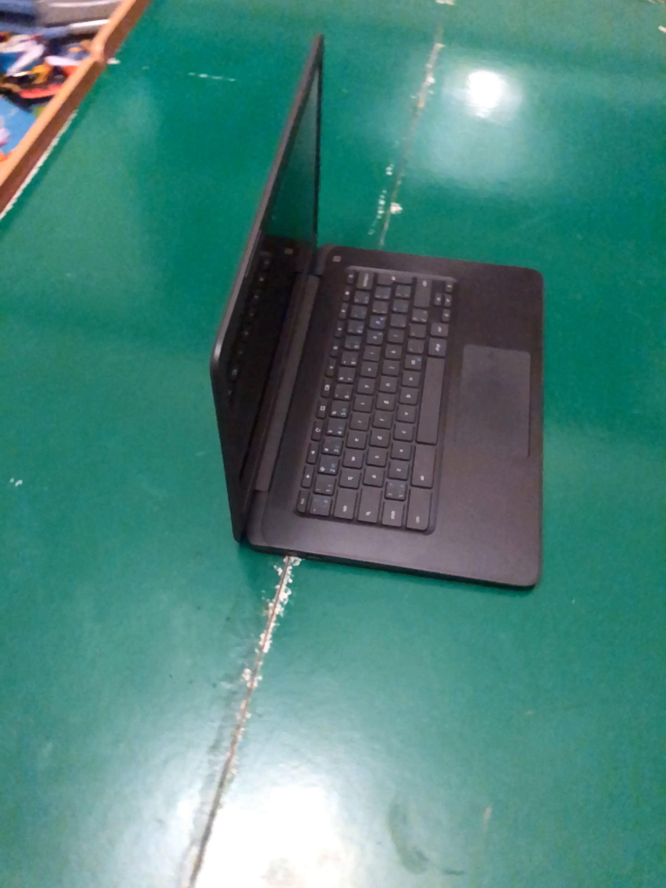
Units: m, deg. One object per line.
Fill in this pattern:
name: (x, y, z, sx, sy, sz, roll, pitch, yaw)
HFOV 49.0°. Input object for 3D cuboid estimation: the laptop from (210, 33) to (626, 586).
laptop: (0.066, -0.102, 0.537, 0.210, 0.204, 0.318, 8, 58, 5)
